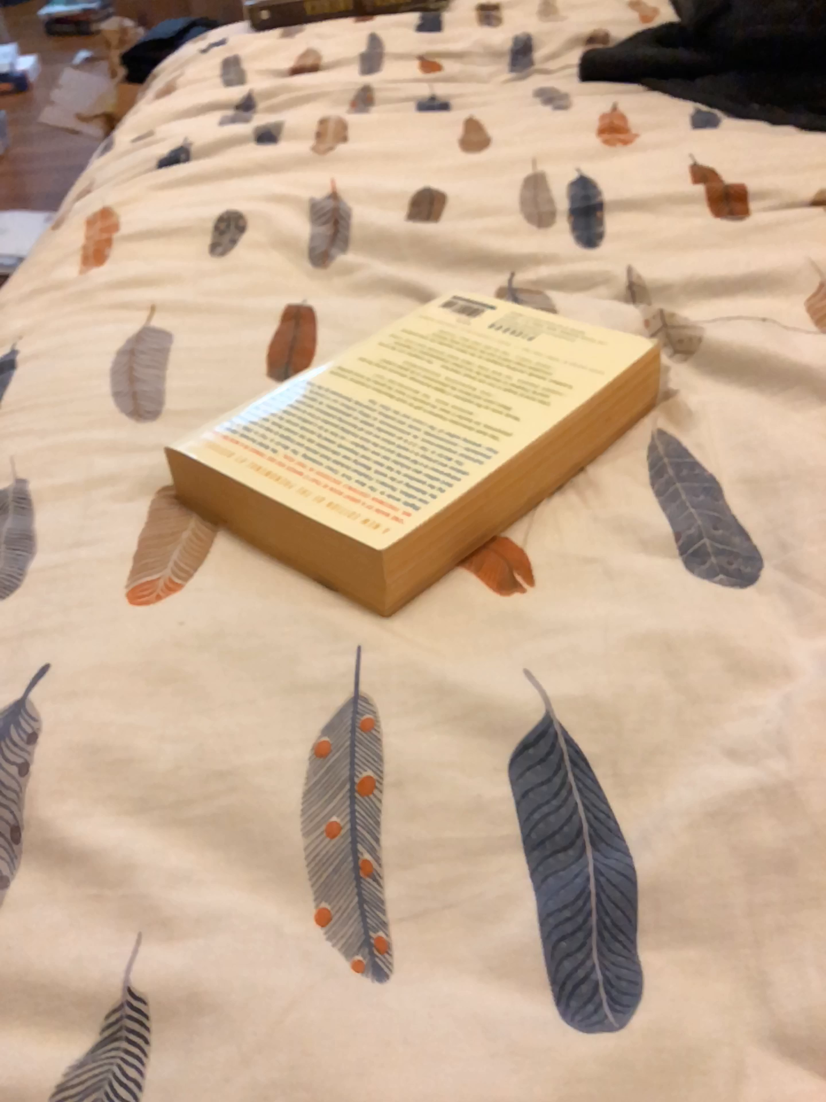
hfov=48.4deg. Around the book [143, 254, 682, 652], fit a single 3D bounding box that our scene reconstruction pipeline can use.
[{"bbox_3d":[0.008,-0.066,0.448,0.150,0.040,0.221,27,51,29],"label":"book"}]
